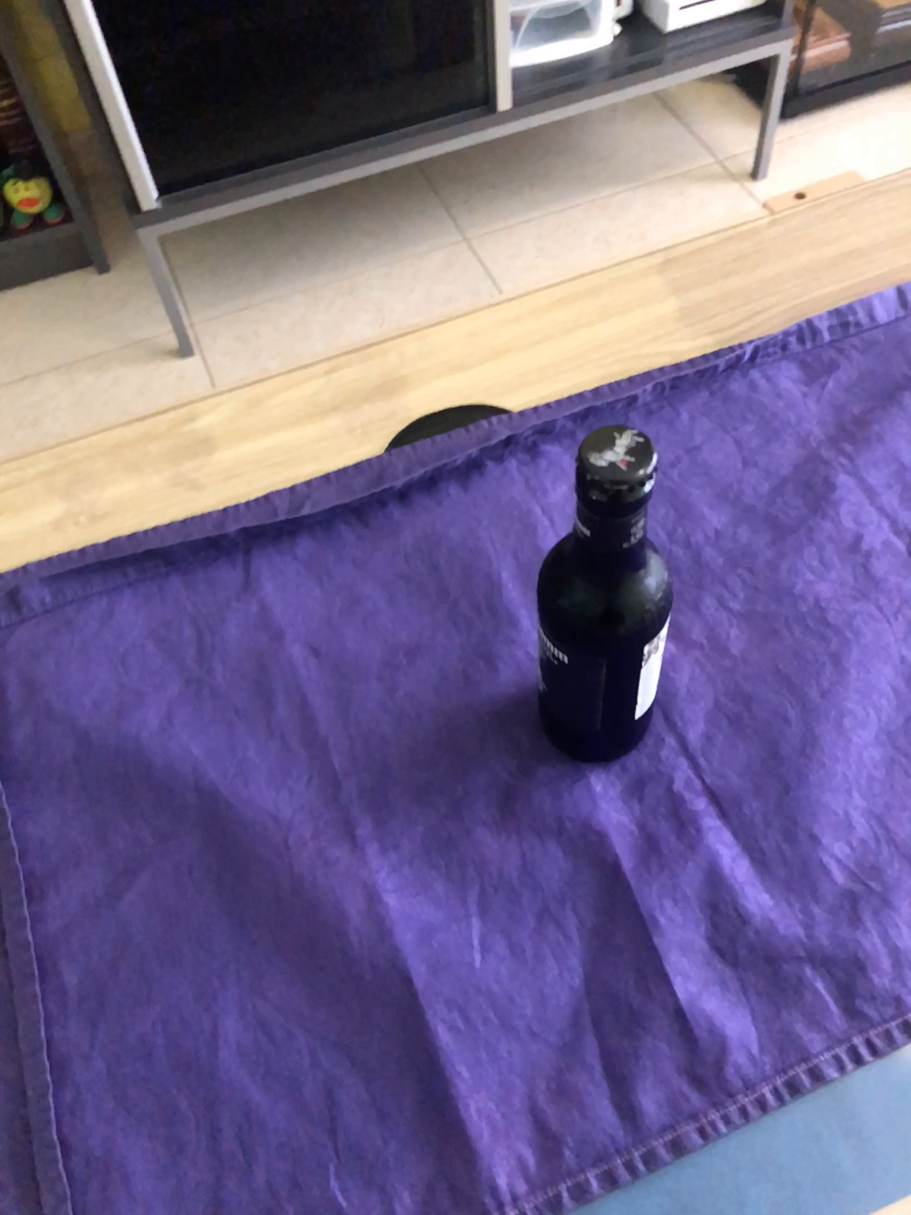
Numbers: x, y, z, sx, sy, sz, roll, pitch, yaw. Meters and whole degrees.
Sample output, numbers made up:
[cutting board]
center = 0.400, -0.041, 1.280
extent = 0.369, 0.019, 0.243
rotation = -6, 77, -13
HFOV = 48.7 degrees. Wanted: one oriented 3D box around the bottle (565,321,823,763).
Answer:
[bottle]
center = 0.085, -0.013, 0.412
extent = 0.070, 0.199, 0.070
rotation = -2, 56, 3
